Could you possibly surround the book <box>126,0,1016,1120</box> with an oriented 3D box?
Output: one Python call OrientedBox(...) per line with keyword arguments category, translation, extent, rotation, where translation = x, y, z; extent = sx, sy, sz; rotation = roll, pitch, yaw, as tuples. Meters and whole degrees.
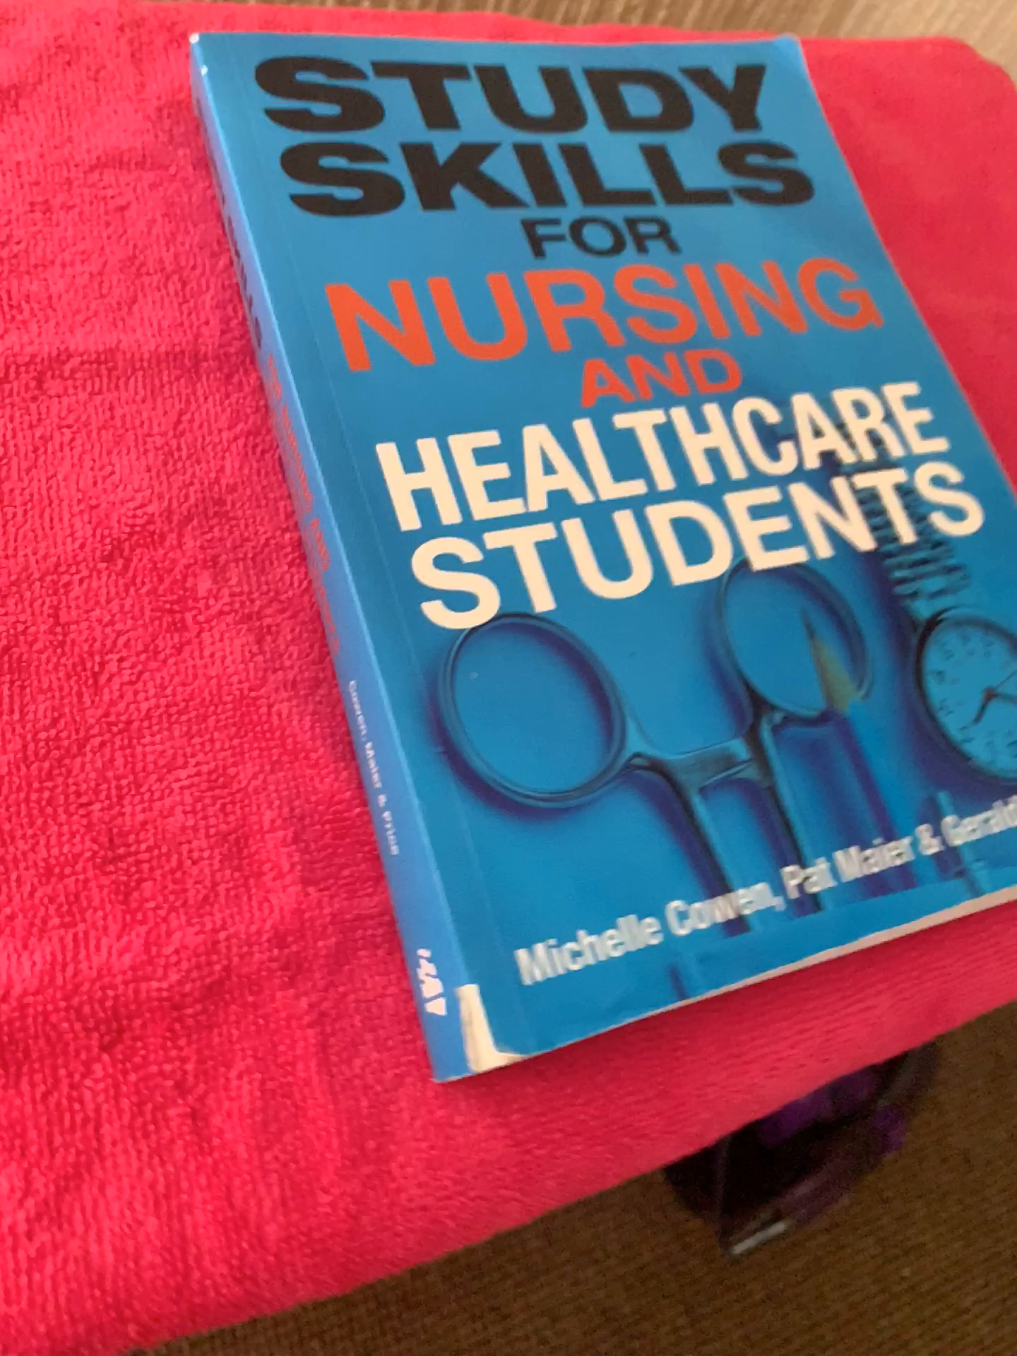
OrientedBox(category="book", translation=(0.034, -0.062, 0.267), extent=(0.200, 0.040, 0.271), rotation=(-11, 69, -22))
